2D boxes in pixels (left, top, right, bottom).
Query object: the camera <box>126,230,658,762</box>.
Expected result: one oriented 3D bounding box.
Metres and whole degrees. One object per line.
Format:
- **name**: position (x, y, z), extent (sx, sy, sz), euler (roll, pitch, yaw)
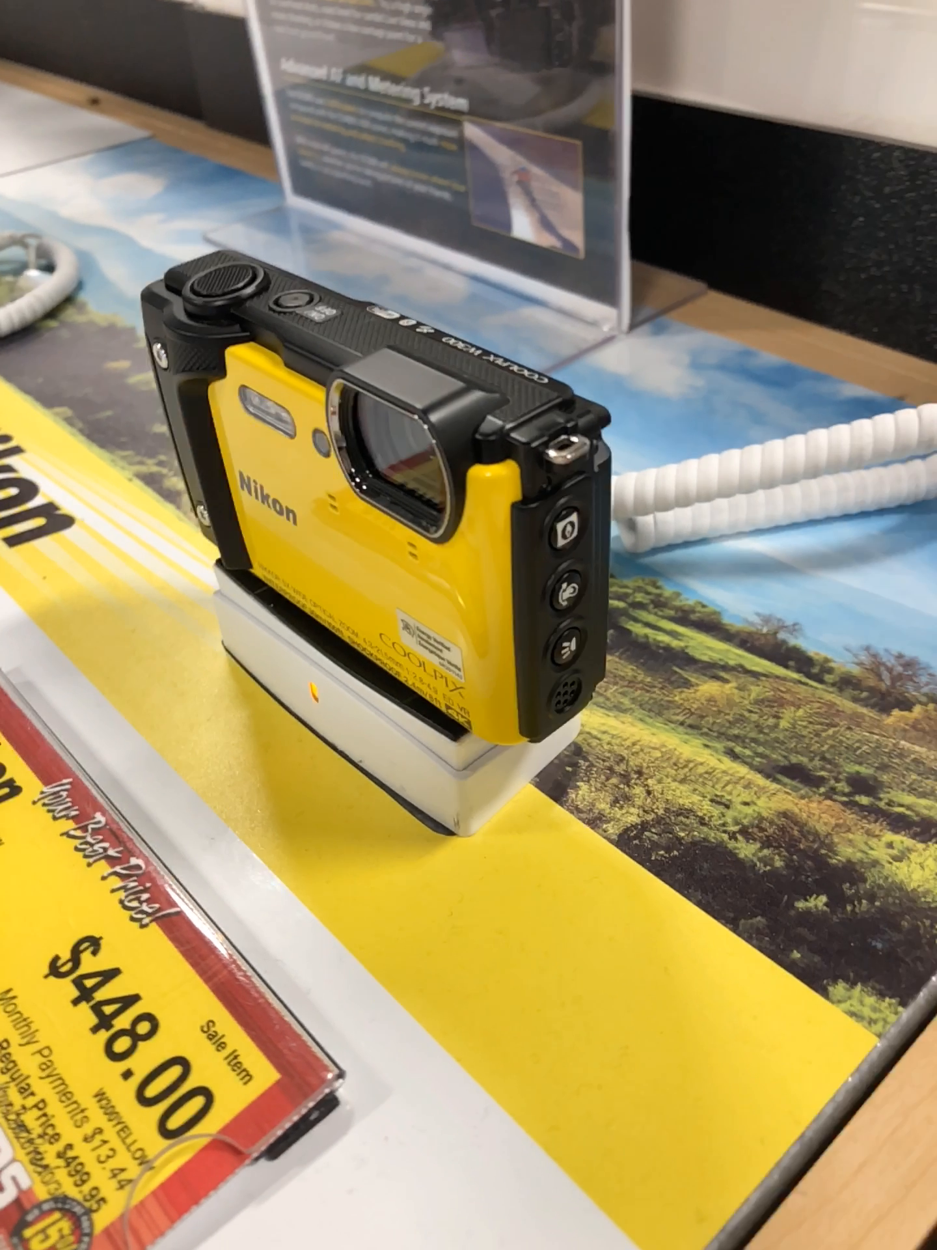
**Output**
- **camera**: position (-0.018, -0.030, 0.201), extent (0.030, 0.060, 0.111), euler (-32, 47, -30)
